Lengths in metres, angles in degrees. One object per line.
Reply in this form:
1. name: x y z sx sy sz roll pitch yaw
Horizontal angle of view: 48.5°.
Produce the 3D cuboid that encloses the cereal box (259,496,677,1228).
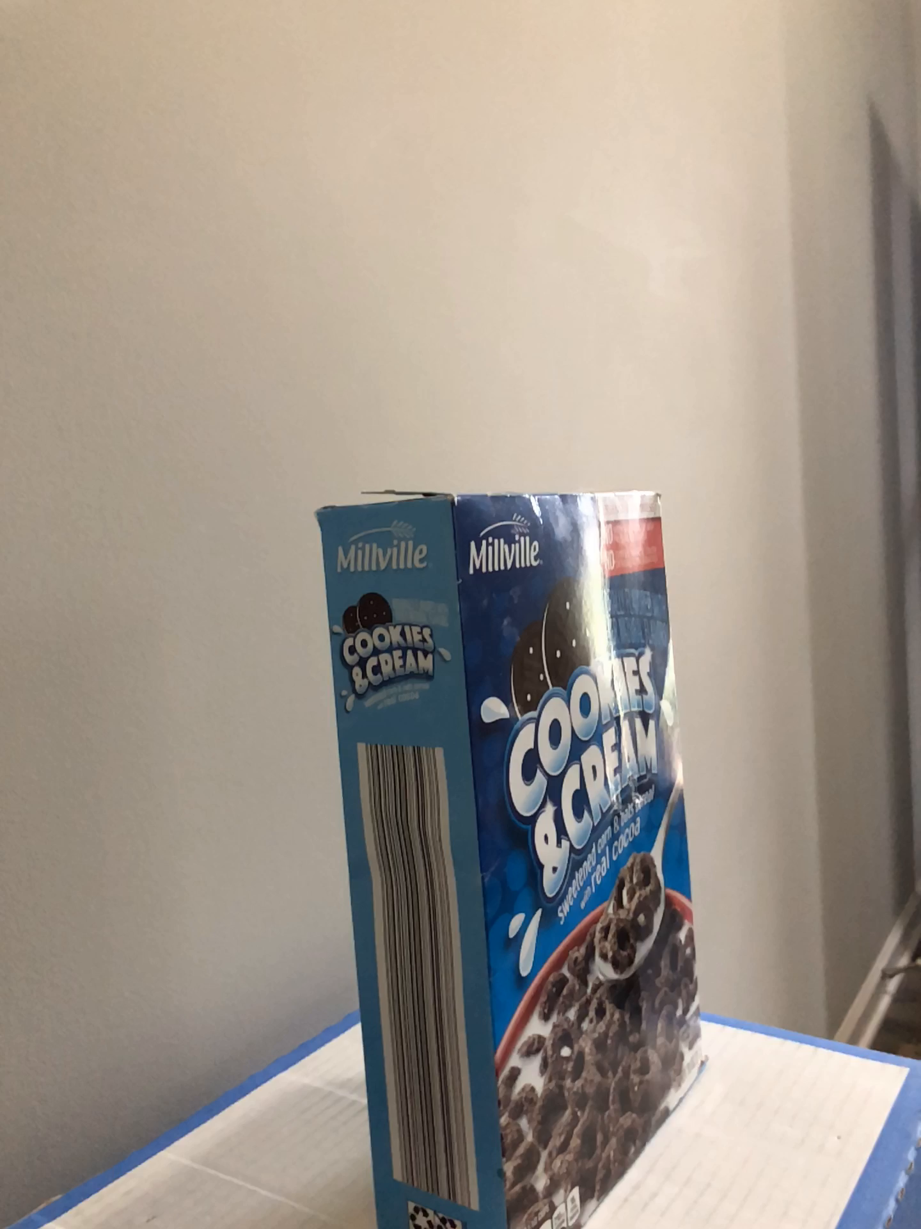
1. cereal box: 0.018 0.105 0.467 0.070 0.310 0.200 -3 4 33
